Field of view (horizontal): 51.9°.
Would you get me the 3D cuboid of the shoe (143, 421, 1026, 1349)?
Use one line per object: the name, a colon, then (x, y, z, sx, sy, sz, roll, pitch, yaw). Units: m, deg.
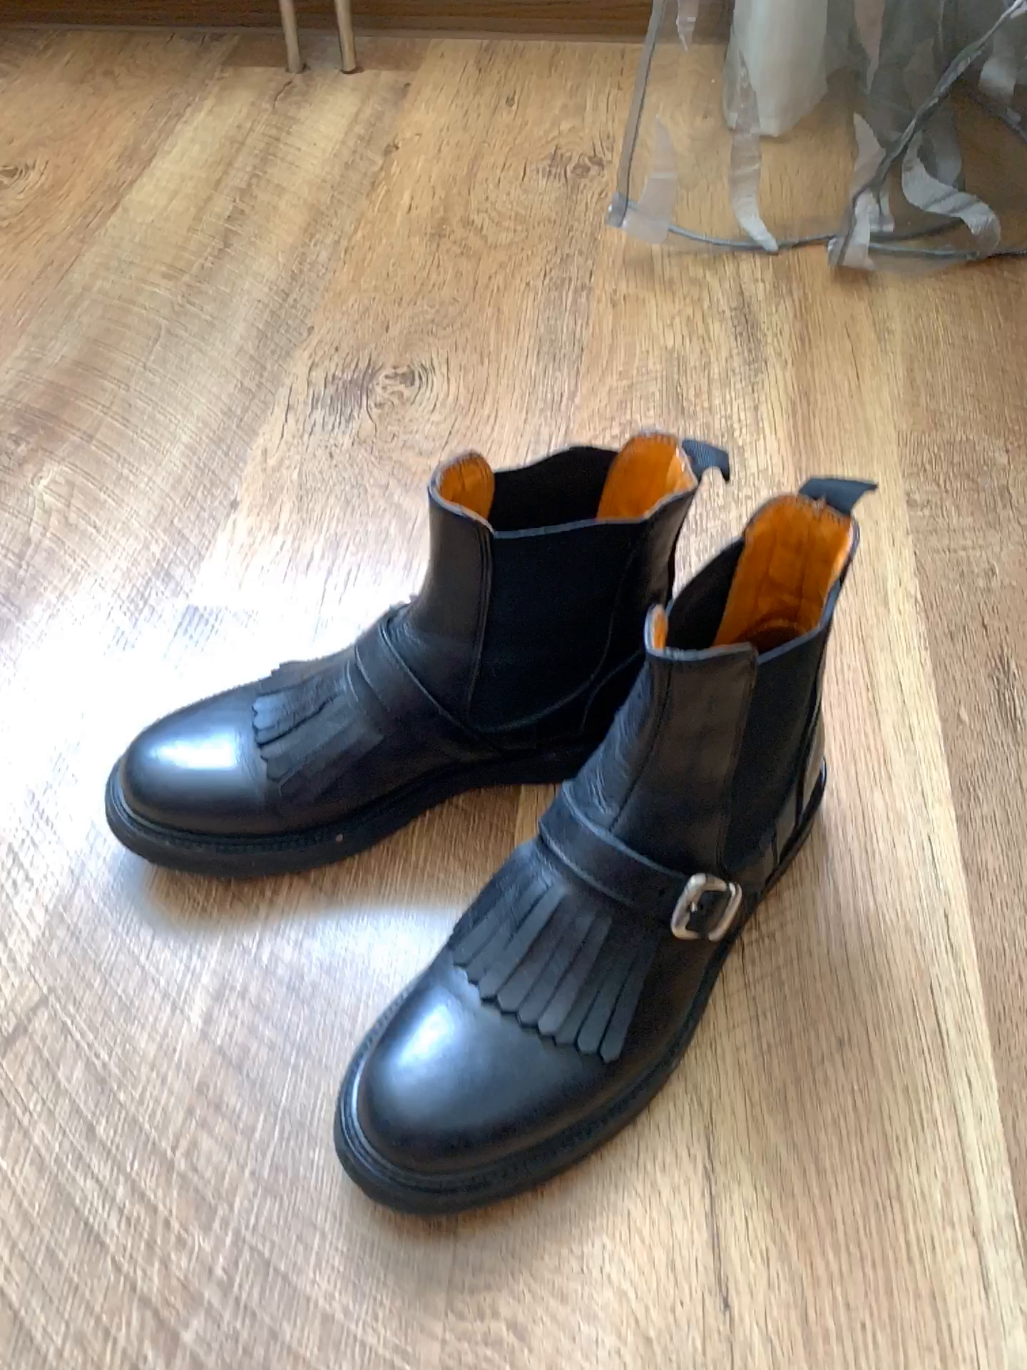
shoe: (0.038, 0.056, 0.348, 0.100, 0.149, 0.260, 35, 60, 26)

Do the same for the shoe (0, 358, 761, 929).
shoe: (-0.052, -0.014, 0.419, 0.260, 0.151, 0.090, -15, 52, -10)
